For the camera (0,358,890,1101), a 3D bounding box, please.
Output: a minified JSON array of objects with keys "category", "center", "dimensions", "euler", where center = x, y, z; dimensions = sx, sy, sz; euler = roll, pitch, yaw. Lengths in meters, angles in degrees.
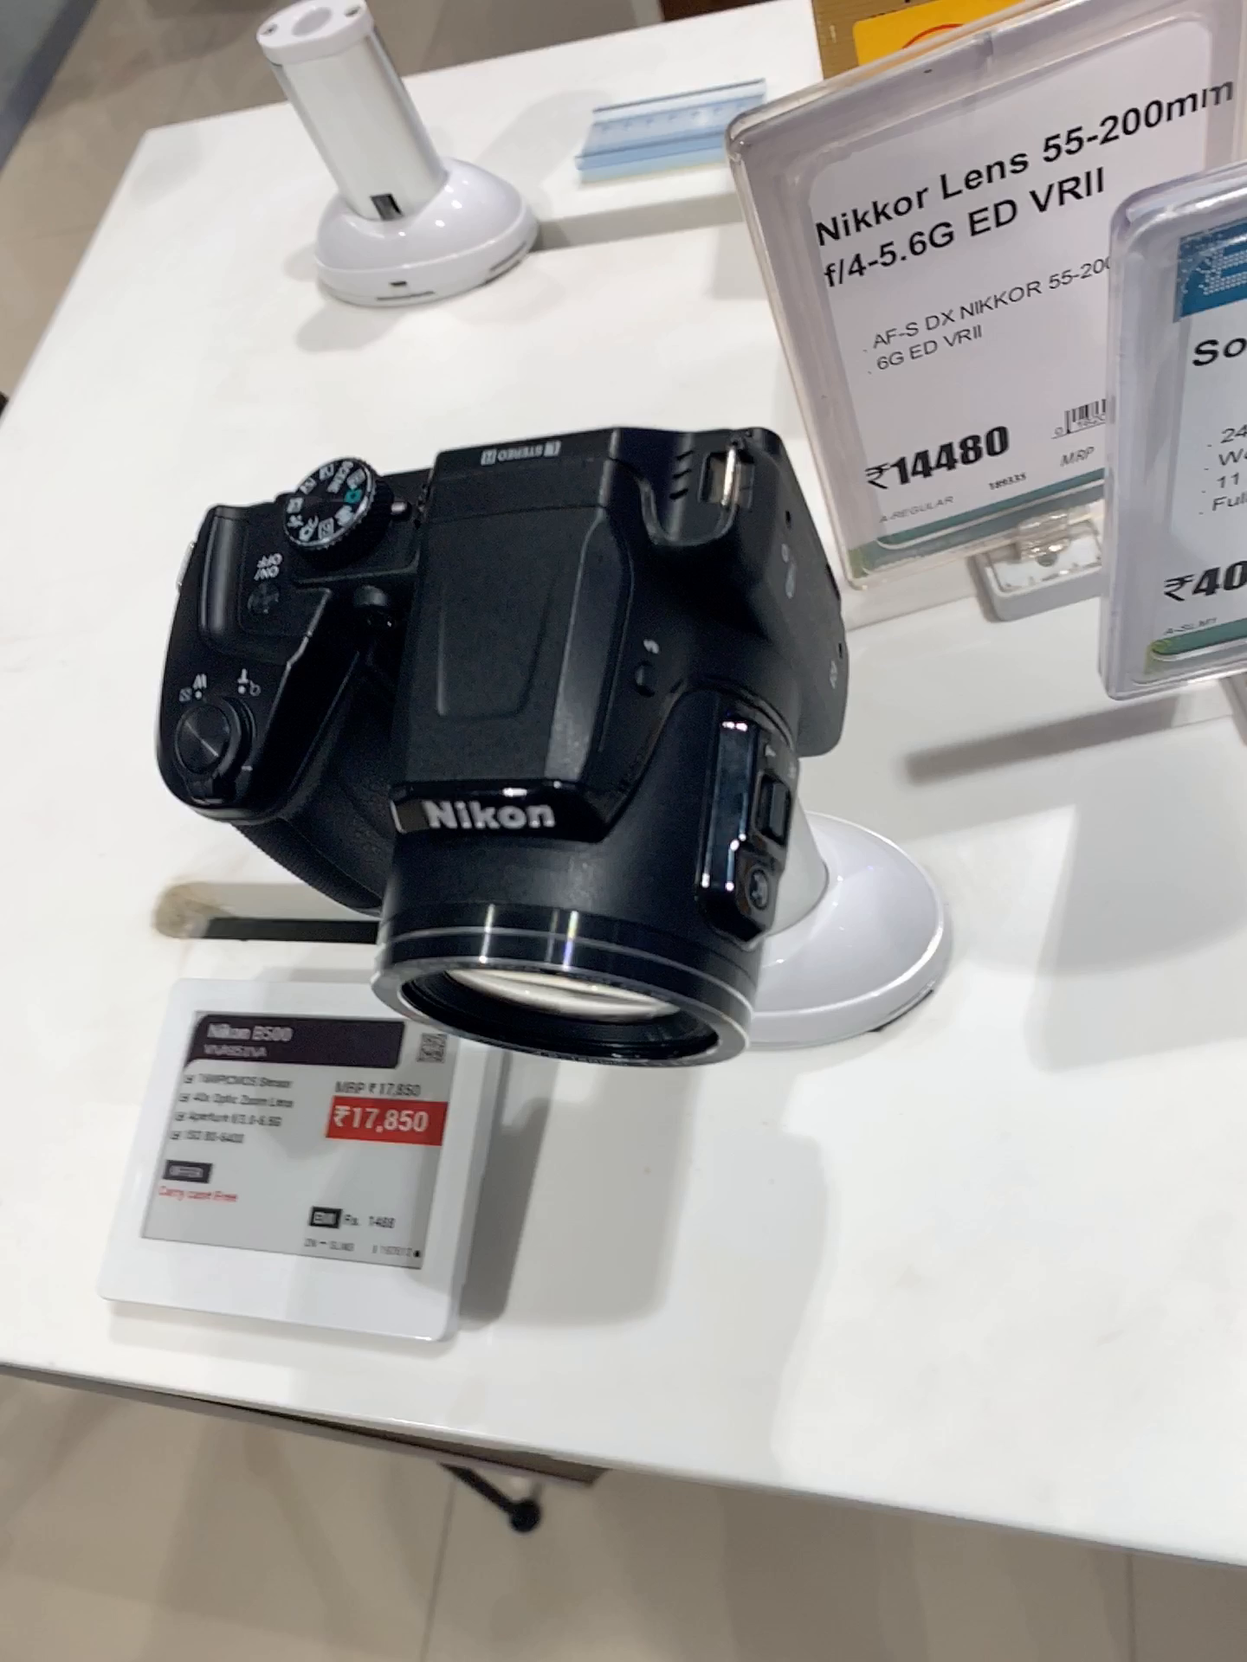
[{"category":"camera","center":[-0.021,-0.010,0.202],"dimensions":[0.113,0.070,0.083],"euler":[0,67,19]}]
